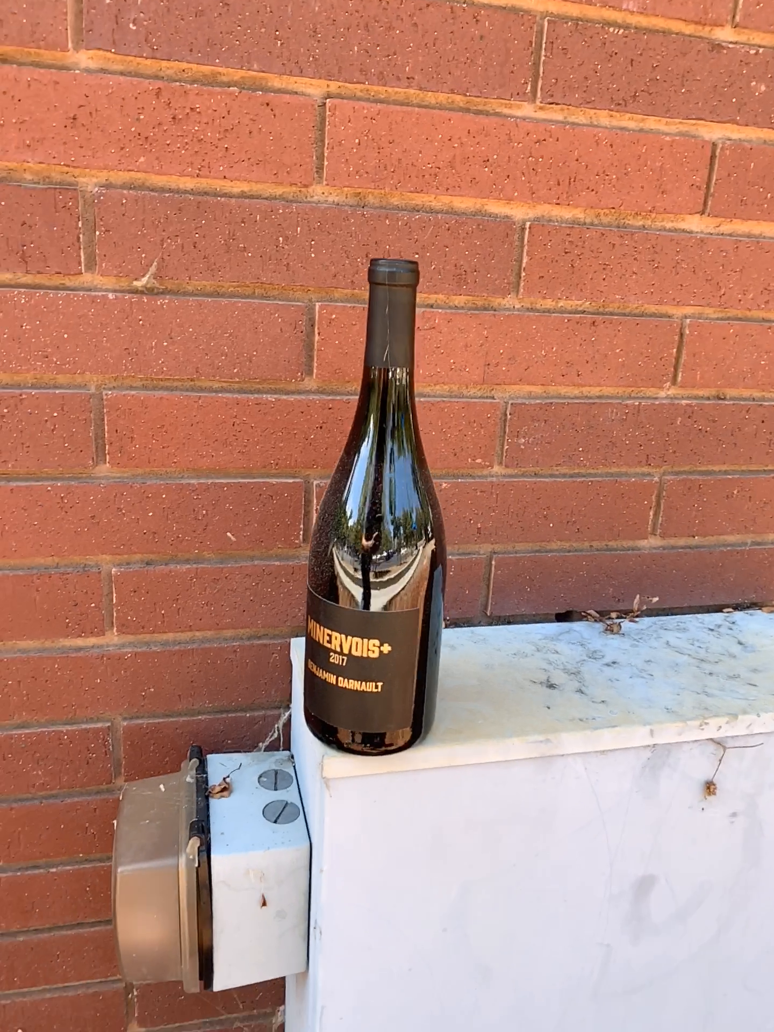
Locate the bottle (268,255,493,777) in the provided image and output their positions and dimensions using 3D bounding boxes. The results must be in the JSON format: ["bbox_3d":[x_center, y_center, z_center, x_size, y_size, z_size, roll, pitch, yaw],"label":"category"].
[{"bbox_3d":[-0.007,-0.003,0.483,0.090,0.289,0.090,3,17,-1],"label":"bottle"}]
